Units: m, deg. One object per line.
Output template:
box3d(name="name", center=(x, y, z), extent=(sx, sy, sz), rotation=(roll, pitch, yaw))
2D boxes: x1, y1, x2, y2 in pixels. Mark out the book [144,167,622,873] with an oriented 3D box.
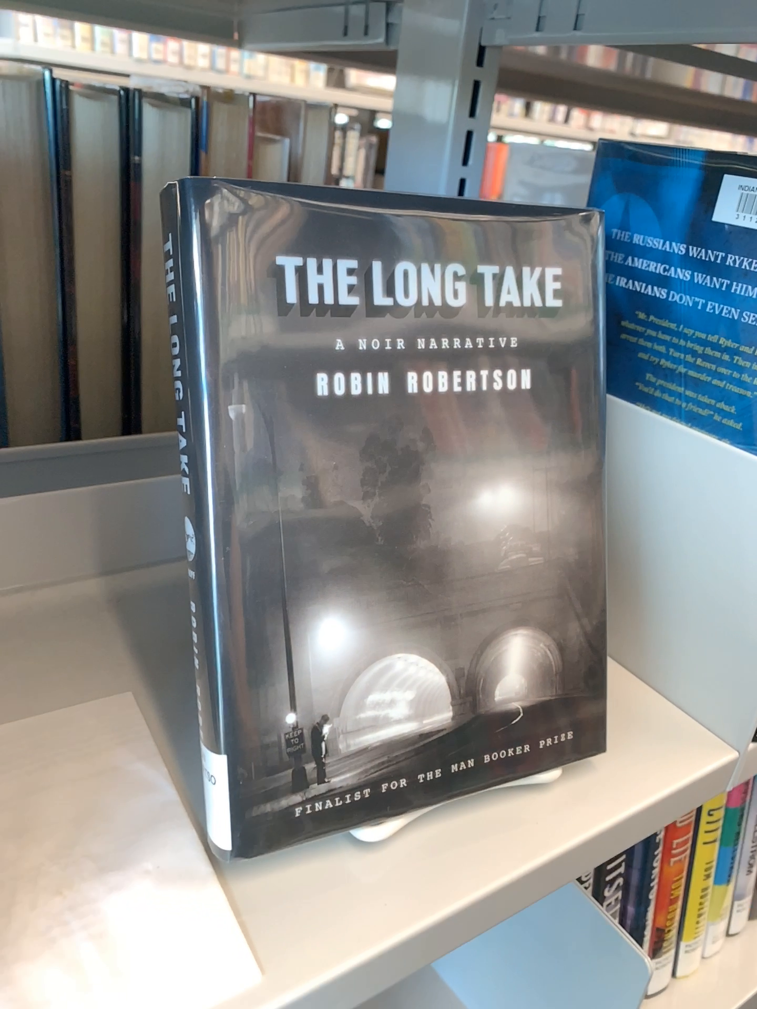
box3d(name="book", center=(0.010, 0.000, 0.279), extent=(0.160, 0.206, 0.040), rotation=(-6, 8, -26))
